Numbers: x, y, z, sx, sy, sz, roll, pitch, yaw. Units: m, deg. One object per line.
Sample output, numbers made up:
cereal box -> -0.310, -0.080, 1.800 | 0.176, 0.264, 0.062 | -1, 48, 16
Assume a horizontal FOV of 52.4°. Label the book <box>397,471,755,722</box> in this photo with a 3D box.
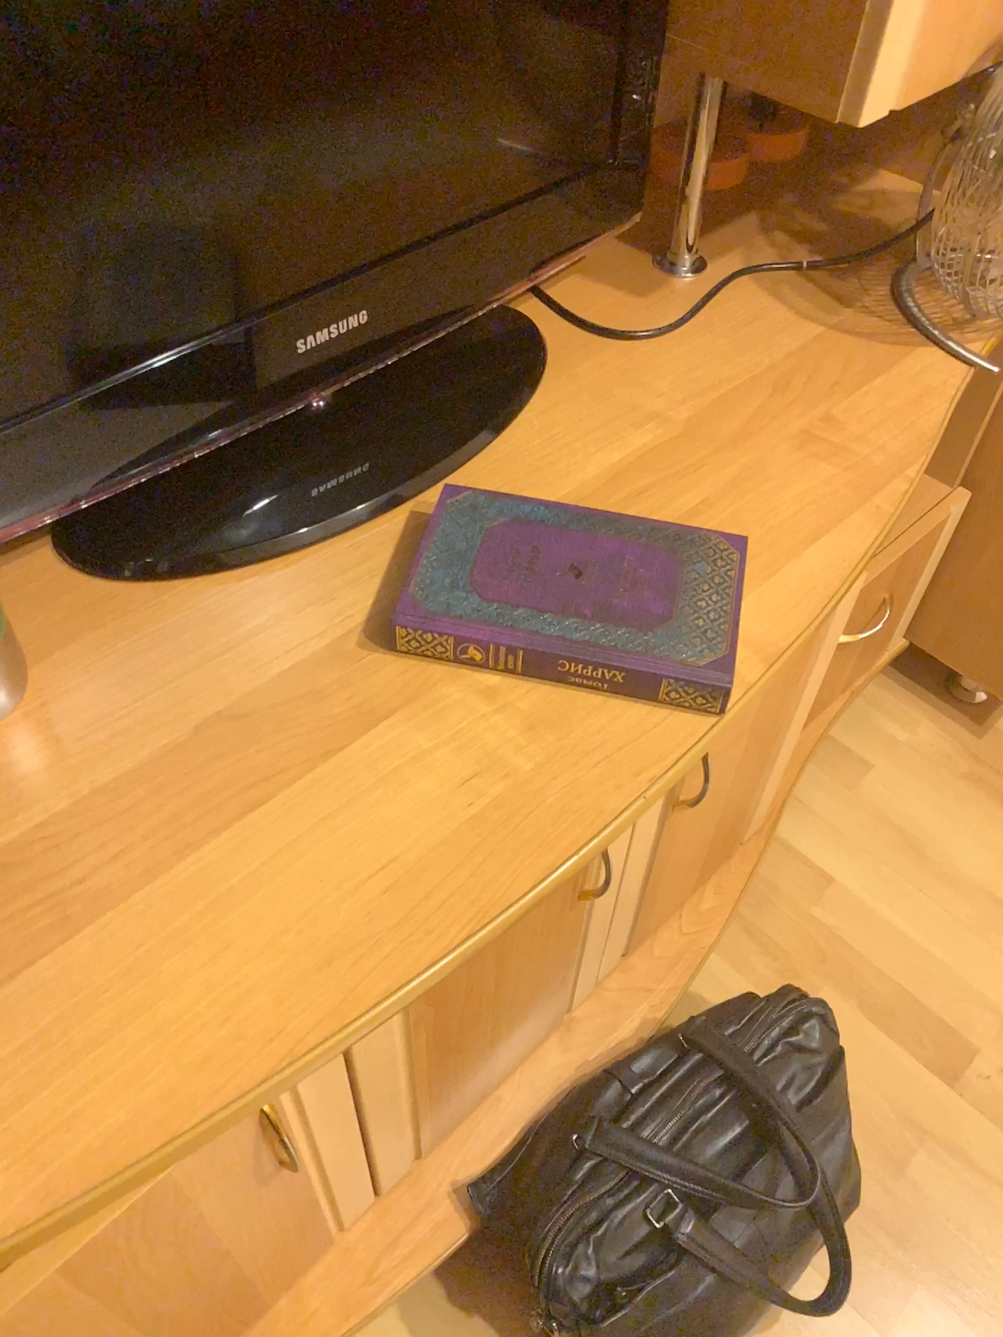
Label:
book -> 0.050, -0.049, 0.637 | 0.200, 0.040, 0.131 | 12, 50, 6
